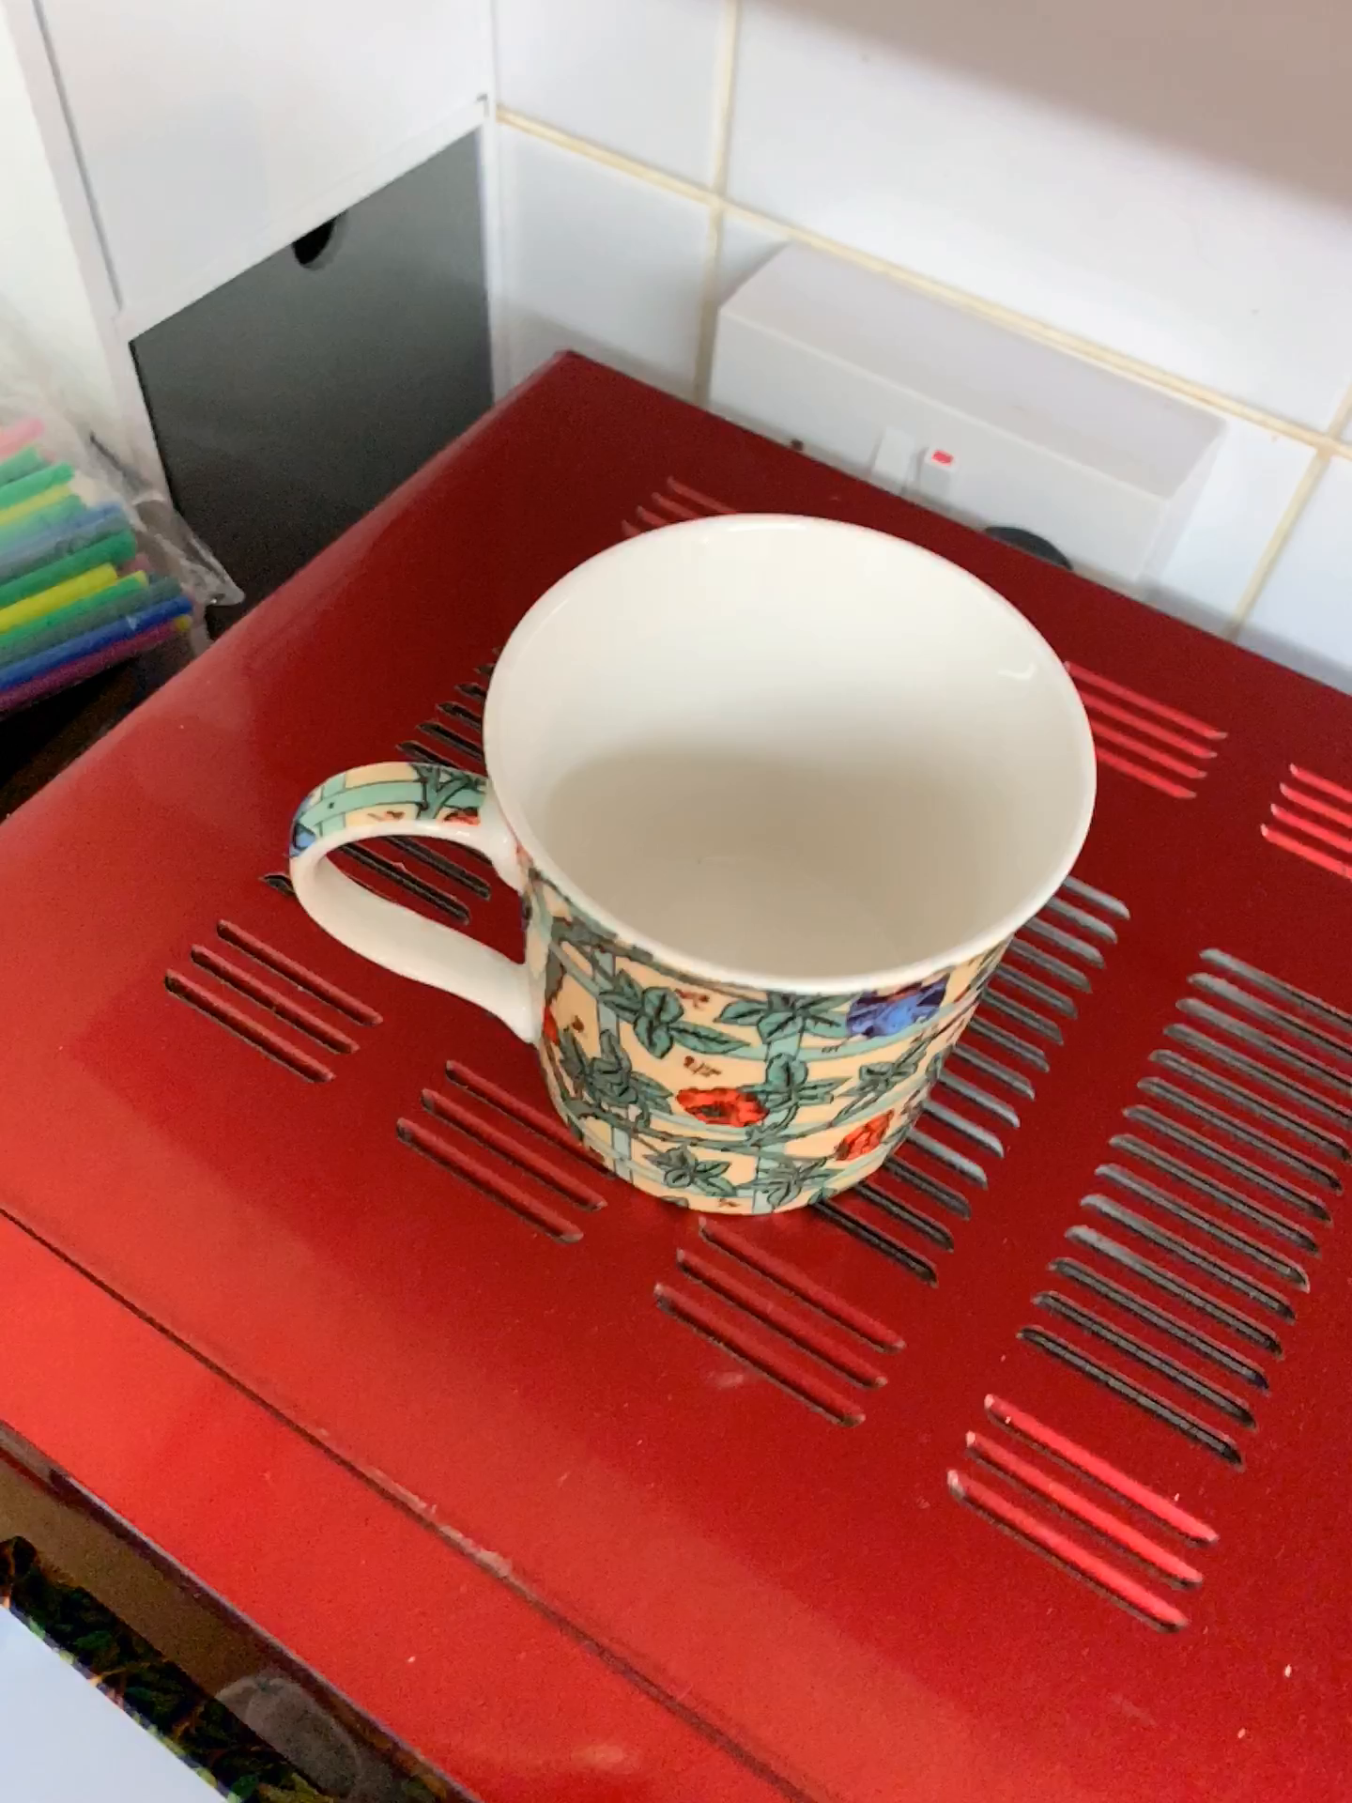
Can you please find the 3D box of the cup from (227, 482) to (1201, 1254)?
[{"bbox_3d":[0.004,-0.002,0.213,0.110,0.079,0.081,3,55,-2],"label":"cup"}]
